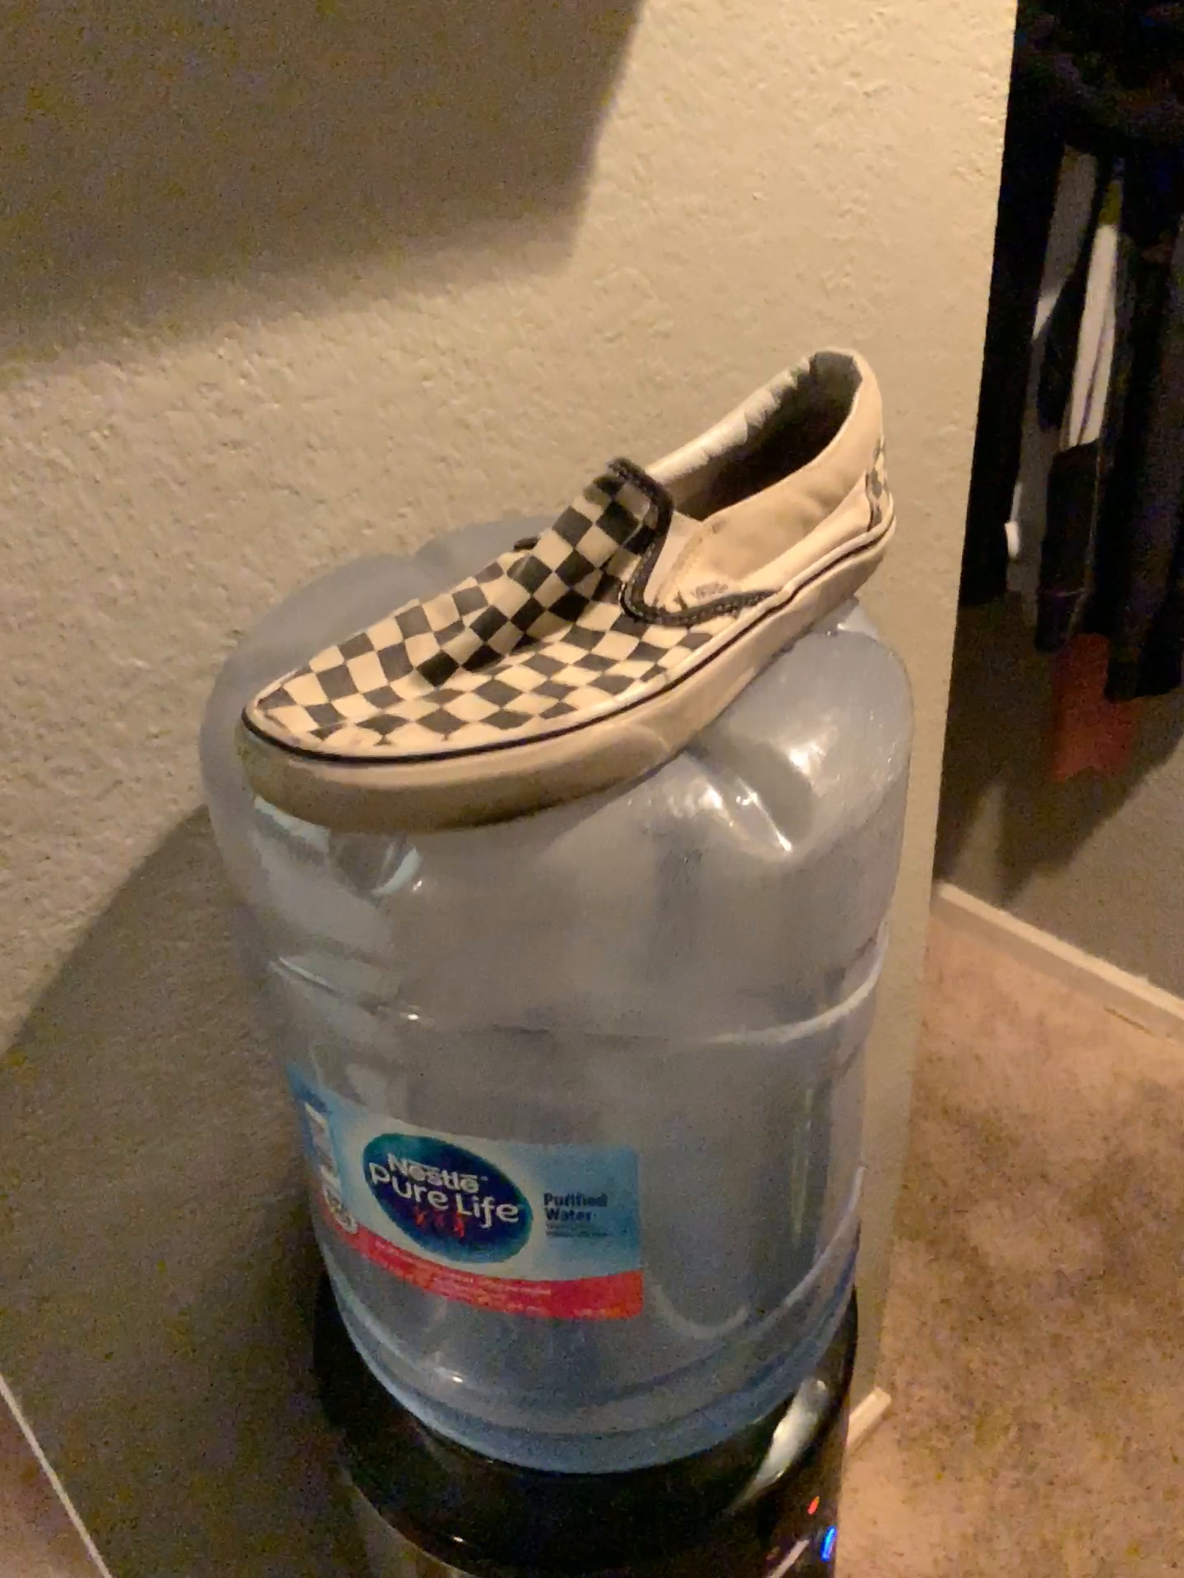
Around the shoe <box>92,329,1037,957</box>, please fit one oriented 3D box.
[{"bbox_3d":[0.004,-0.070,0.440,0.280,0.080,0.130,-27,40,-30],"label":"shoe"}]
